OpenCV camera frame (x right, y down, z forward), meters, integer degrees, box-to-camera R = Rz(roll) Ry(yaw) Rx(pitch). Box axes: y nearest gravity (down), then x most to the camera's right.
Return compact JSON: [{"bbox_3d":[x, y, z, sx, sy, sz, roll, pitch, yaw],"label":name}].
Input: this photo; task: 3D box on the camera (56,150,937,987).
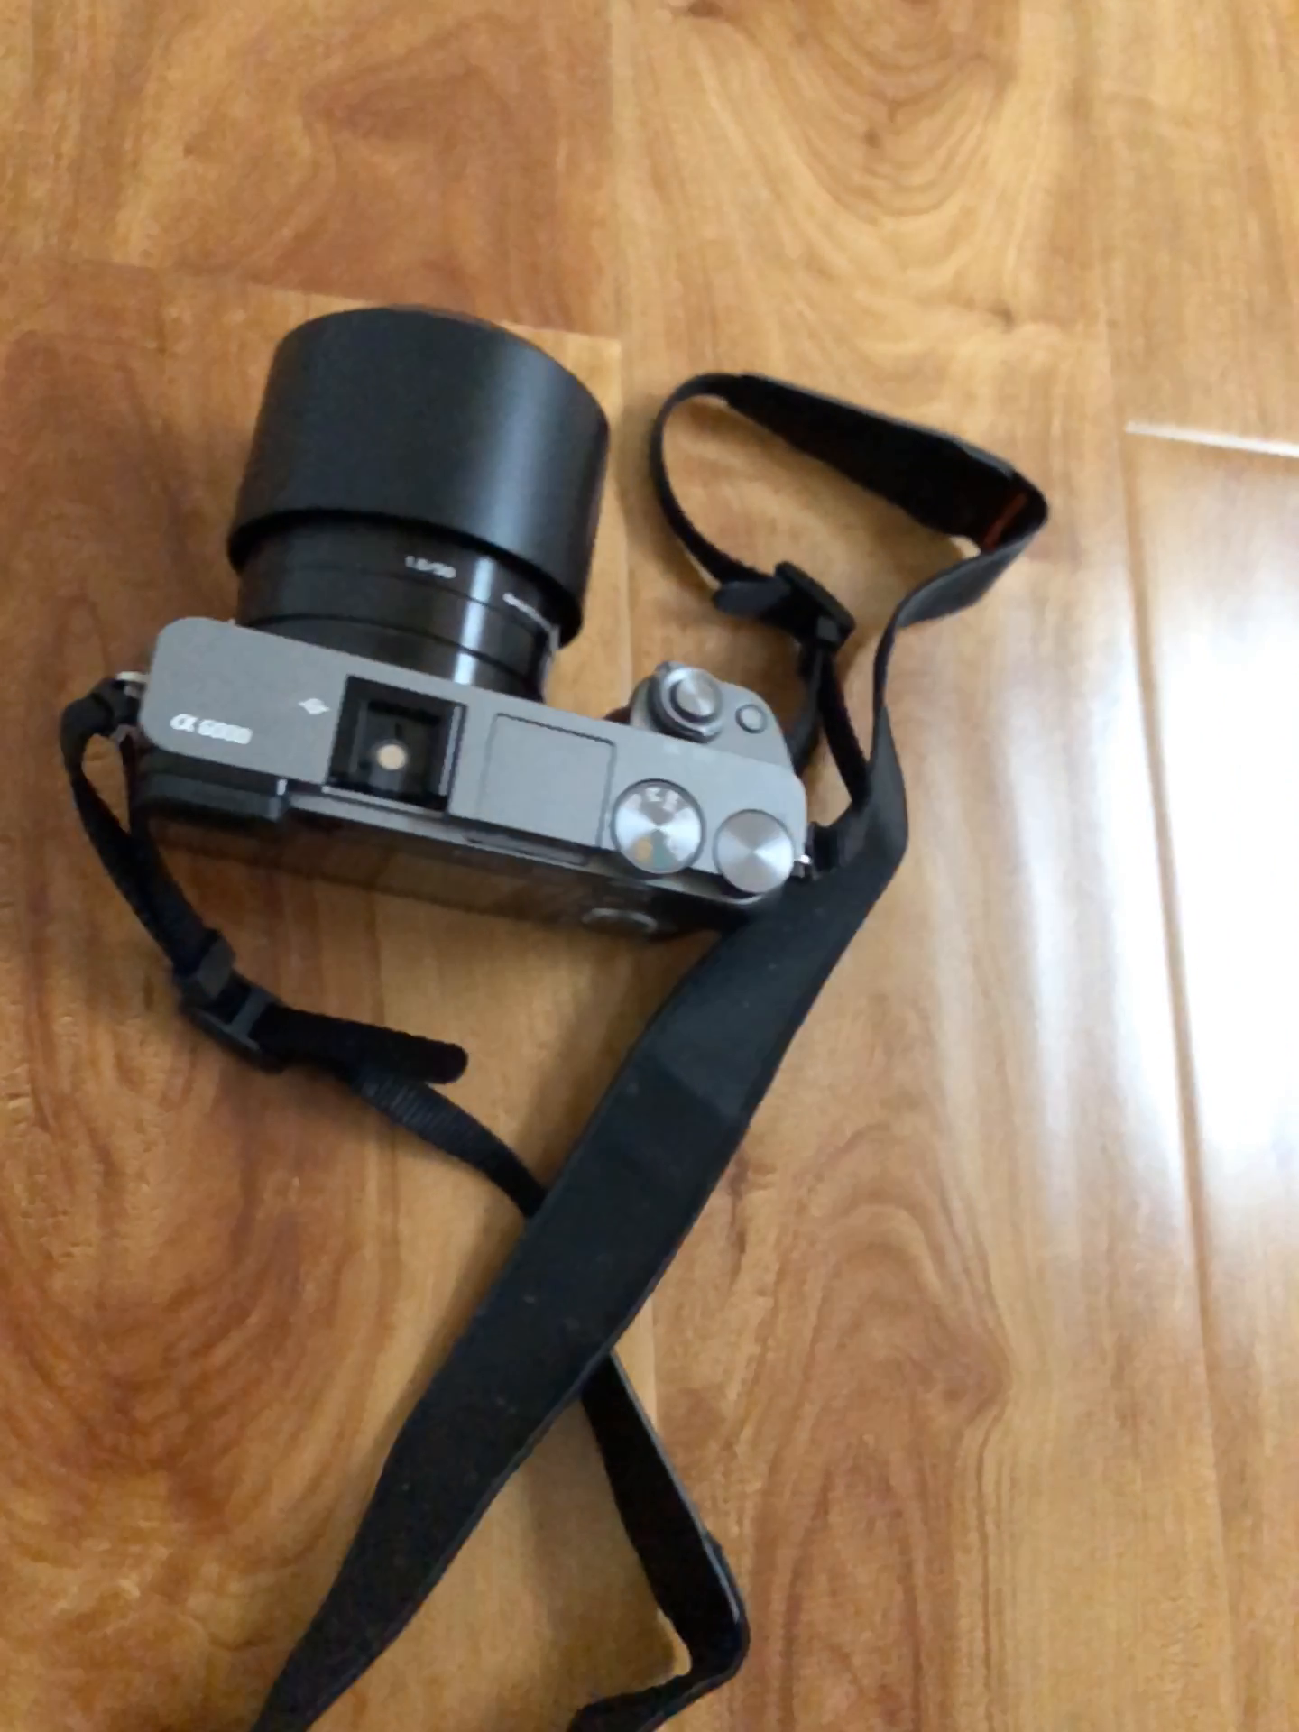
[{"bbox_3d":[-0.029,-0.047,0.289,0.140,0.080,0.110,12,75,-17],"label":"camera"}]
